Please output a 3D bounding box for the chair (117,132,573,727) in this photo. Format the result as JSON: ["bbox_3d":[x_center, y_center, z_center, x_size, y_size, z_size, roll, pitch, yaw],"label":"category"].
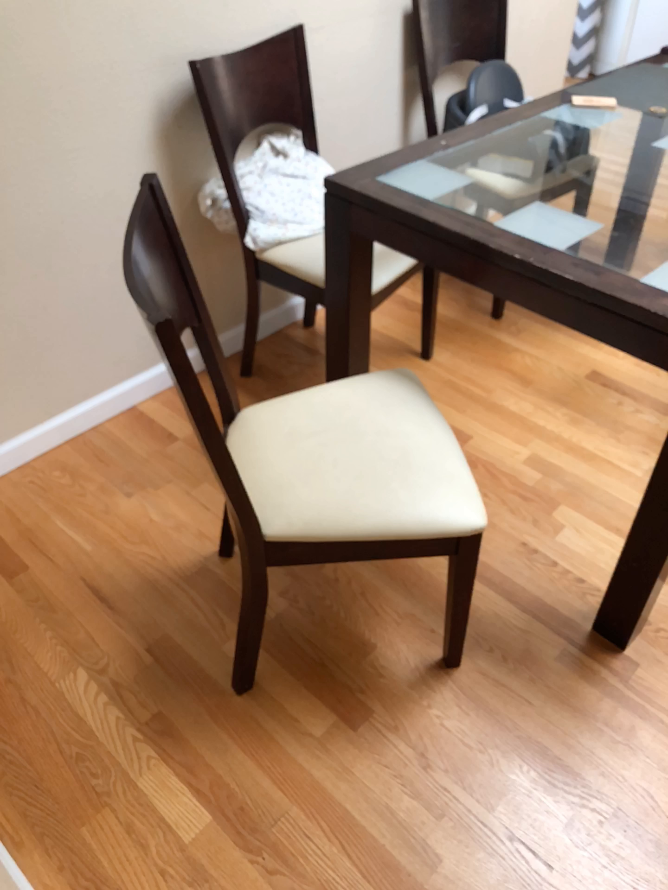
[{"bbox_3d":[-0.034,-0.023,1.420,0.570,0.895,0.593,-9,41,-10],"label":"chair"}]
